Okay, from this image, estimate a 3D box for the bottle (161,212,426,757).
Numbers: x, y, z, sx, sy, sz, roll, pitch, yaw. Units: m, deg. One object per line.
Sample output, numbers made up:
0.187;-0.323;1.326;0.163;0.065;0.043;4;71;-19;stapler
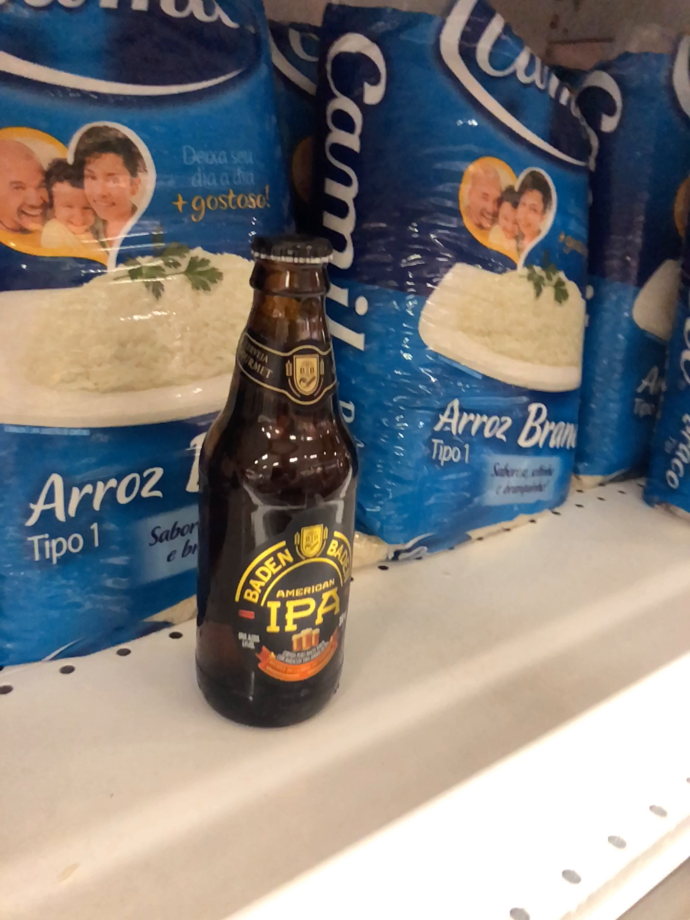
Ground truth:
-0.027;0.009;0.293;0.070;0.189;0.060;-7;24;-29;bottle
